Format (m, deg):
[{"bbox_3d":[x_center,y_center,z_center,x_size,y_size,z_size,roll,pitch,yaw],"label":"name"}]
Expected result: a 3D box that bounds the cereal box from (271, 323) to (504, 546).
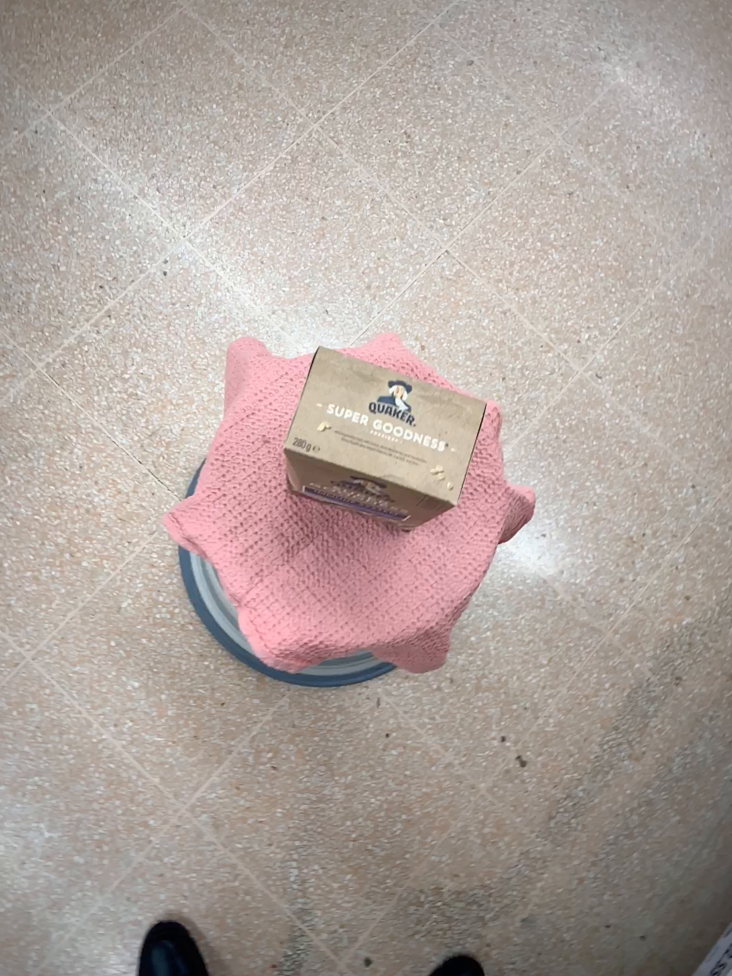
[{"bbox_3d":[0.006,-0.031,0.623,0.140,0.210,0.100,19,79,-3],"label":"cereal box"}]
